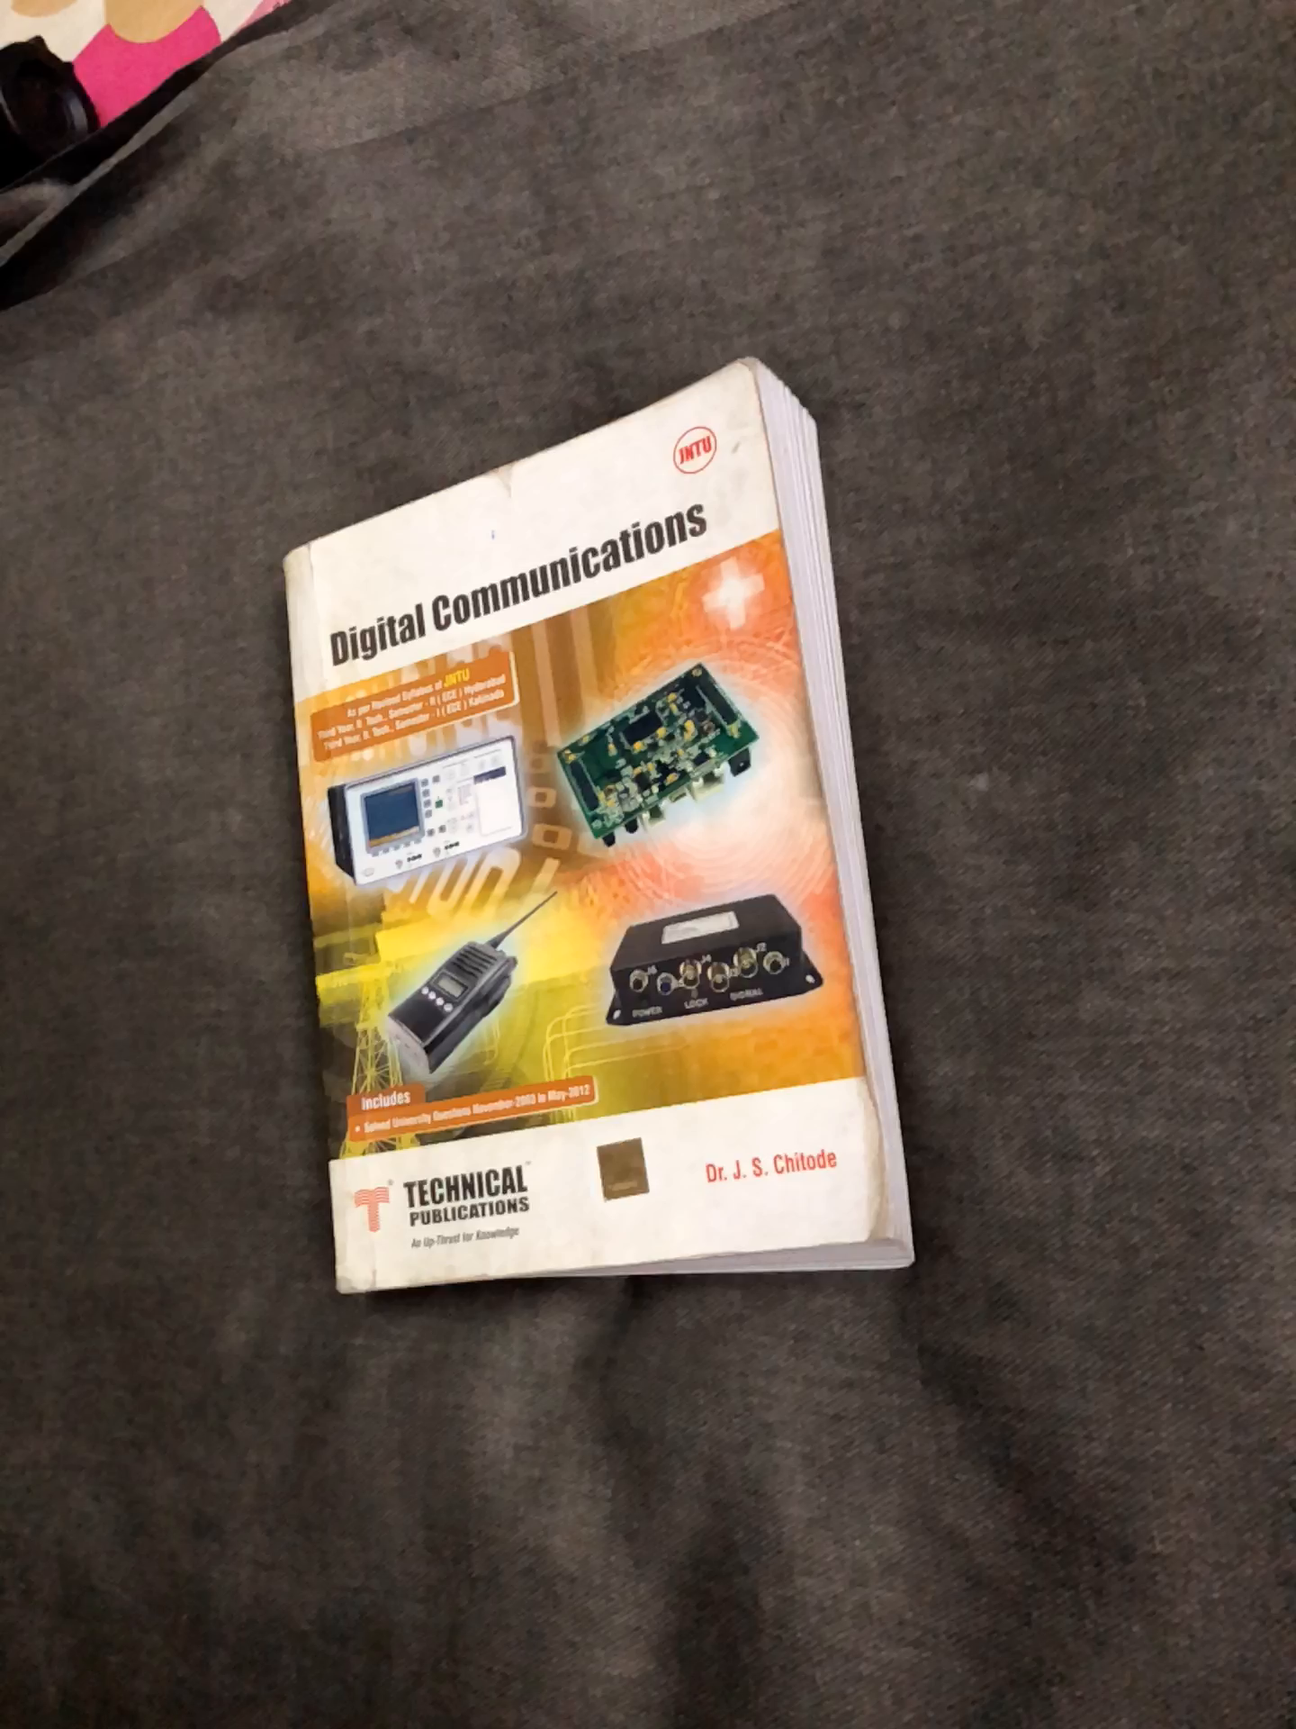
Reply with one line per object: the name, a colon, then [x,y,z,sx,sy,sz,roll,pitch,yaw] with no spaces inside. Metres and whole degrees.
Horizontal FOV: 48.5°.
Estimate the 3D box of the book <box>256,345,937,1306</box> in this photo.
book: [-0.026,0.000,0.426,0.182,0.050,0.241,-12,78,30]
